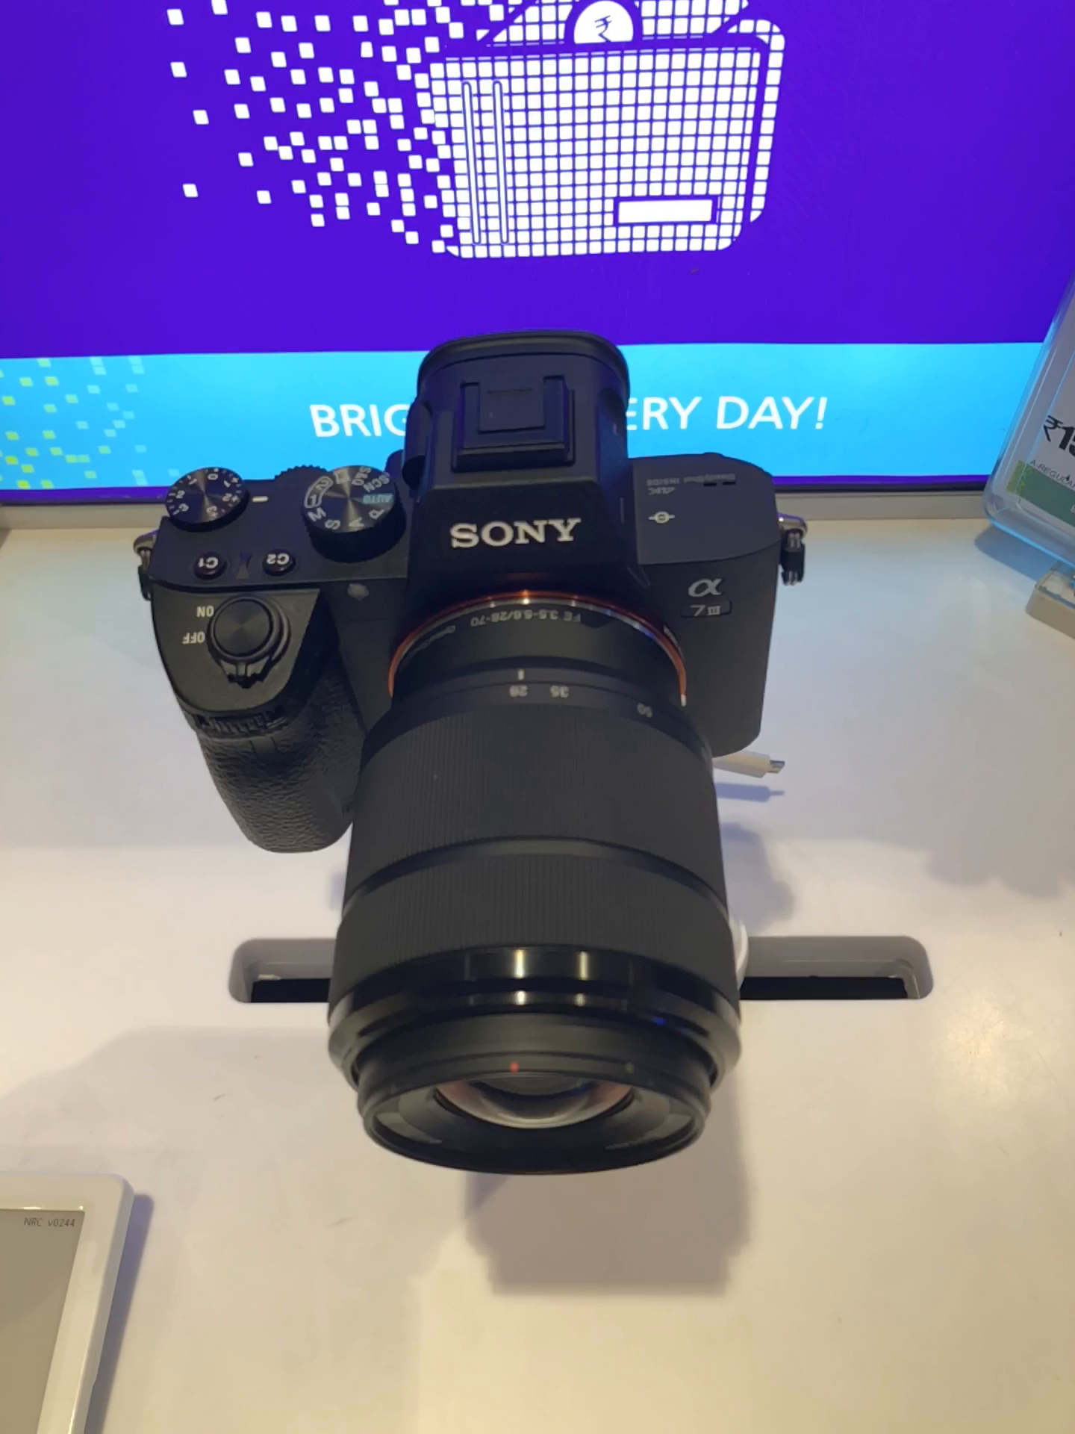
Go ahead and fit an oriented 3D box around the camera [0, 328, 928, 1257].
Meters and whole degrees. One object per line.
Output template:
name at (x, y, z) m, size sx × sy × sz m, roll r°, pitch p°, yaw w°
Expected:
camera at (-0.017, 0.014, 0.230) m, size 0.120 × 0.109 × 0.128 m, roll -6°, pitch 51°, yaw -4°
